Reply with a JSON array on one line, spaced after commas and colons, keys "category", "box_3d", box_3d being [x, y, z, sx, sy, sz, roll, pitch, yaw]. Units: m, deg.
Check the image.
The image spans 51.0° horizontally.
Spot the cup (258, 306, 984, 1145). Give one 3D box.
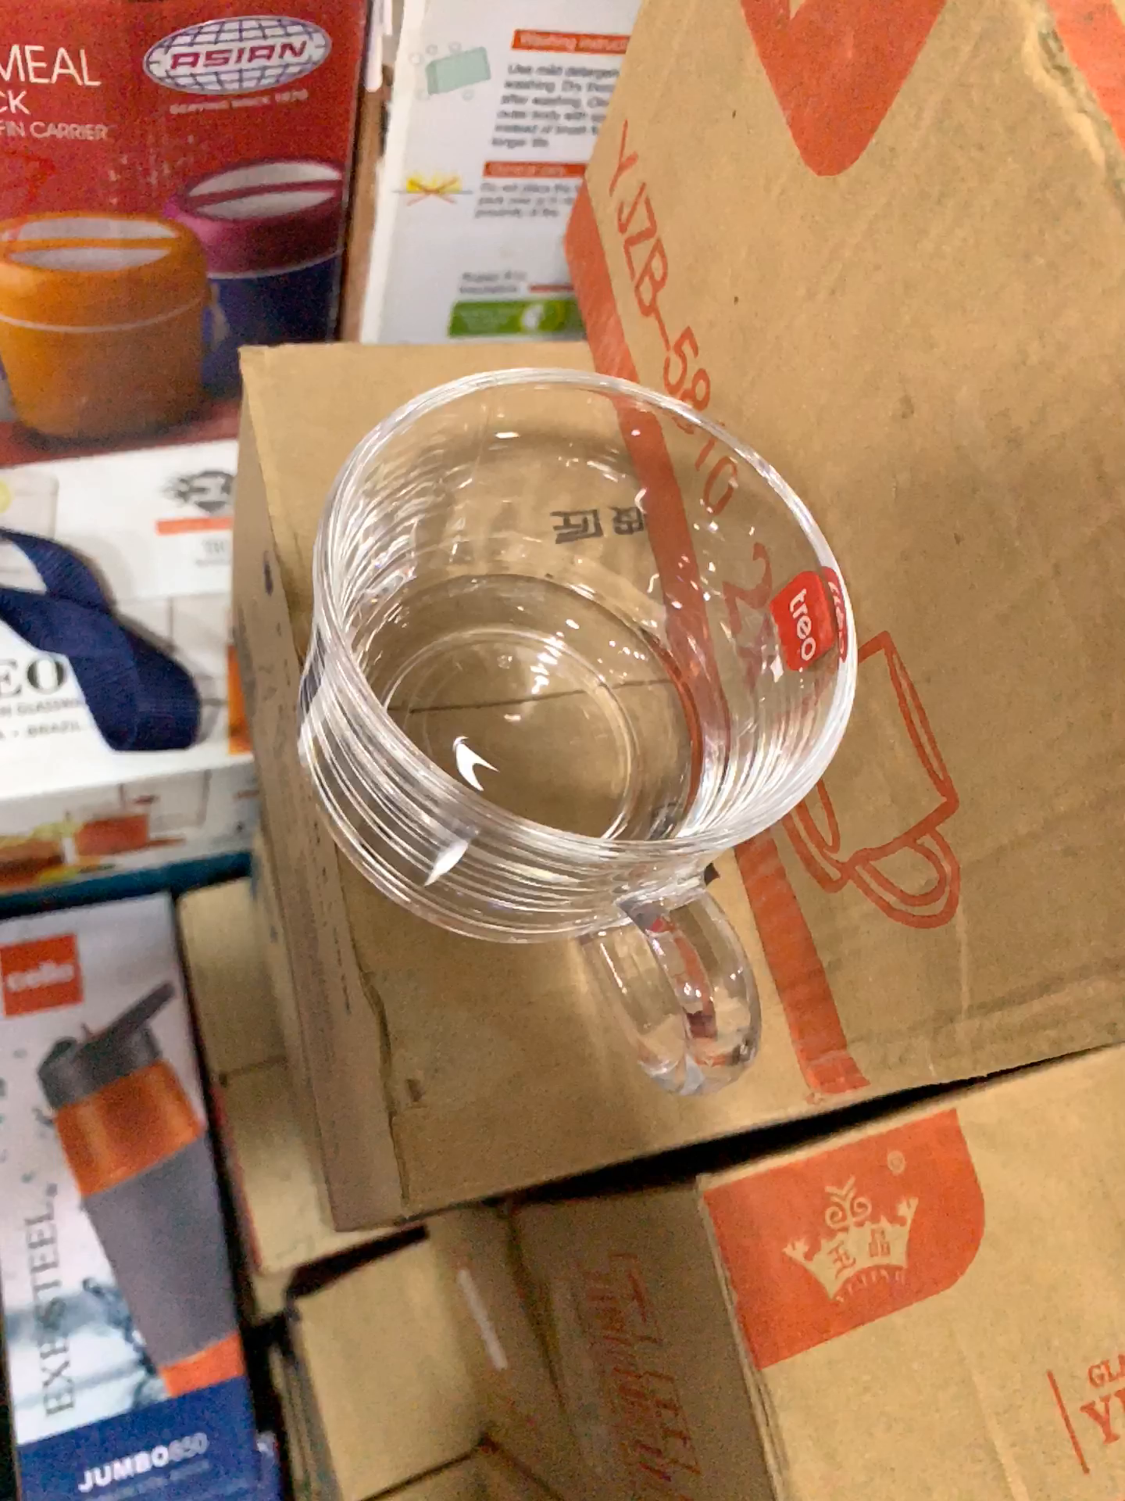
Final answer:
[{"category": "cup", "box_3d": [-0.001, -0.004, 0.182, 0.072, 0.061, 0.105, -9, 70, -19]}]
